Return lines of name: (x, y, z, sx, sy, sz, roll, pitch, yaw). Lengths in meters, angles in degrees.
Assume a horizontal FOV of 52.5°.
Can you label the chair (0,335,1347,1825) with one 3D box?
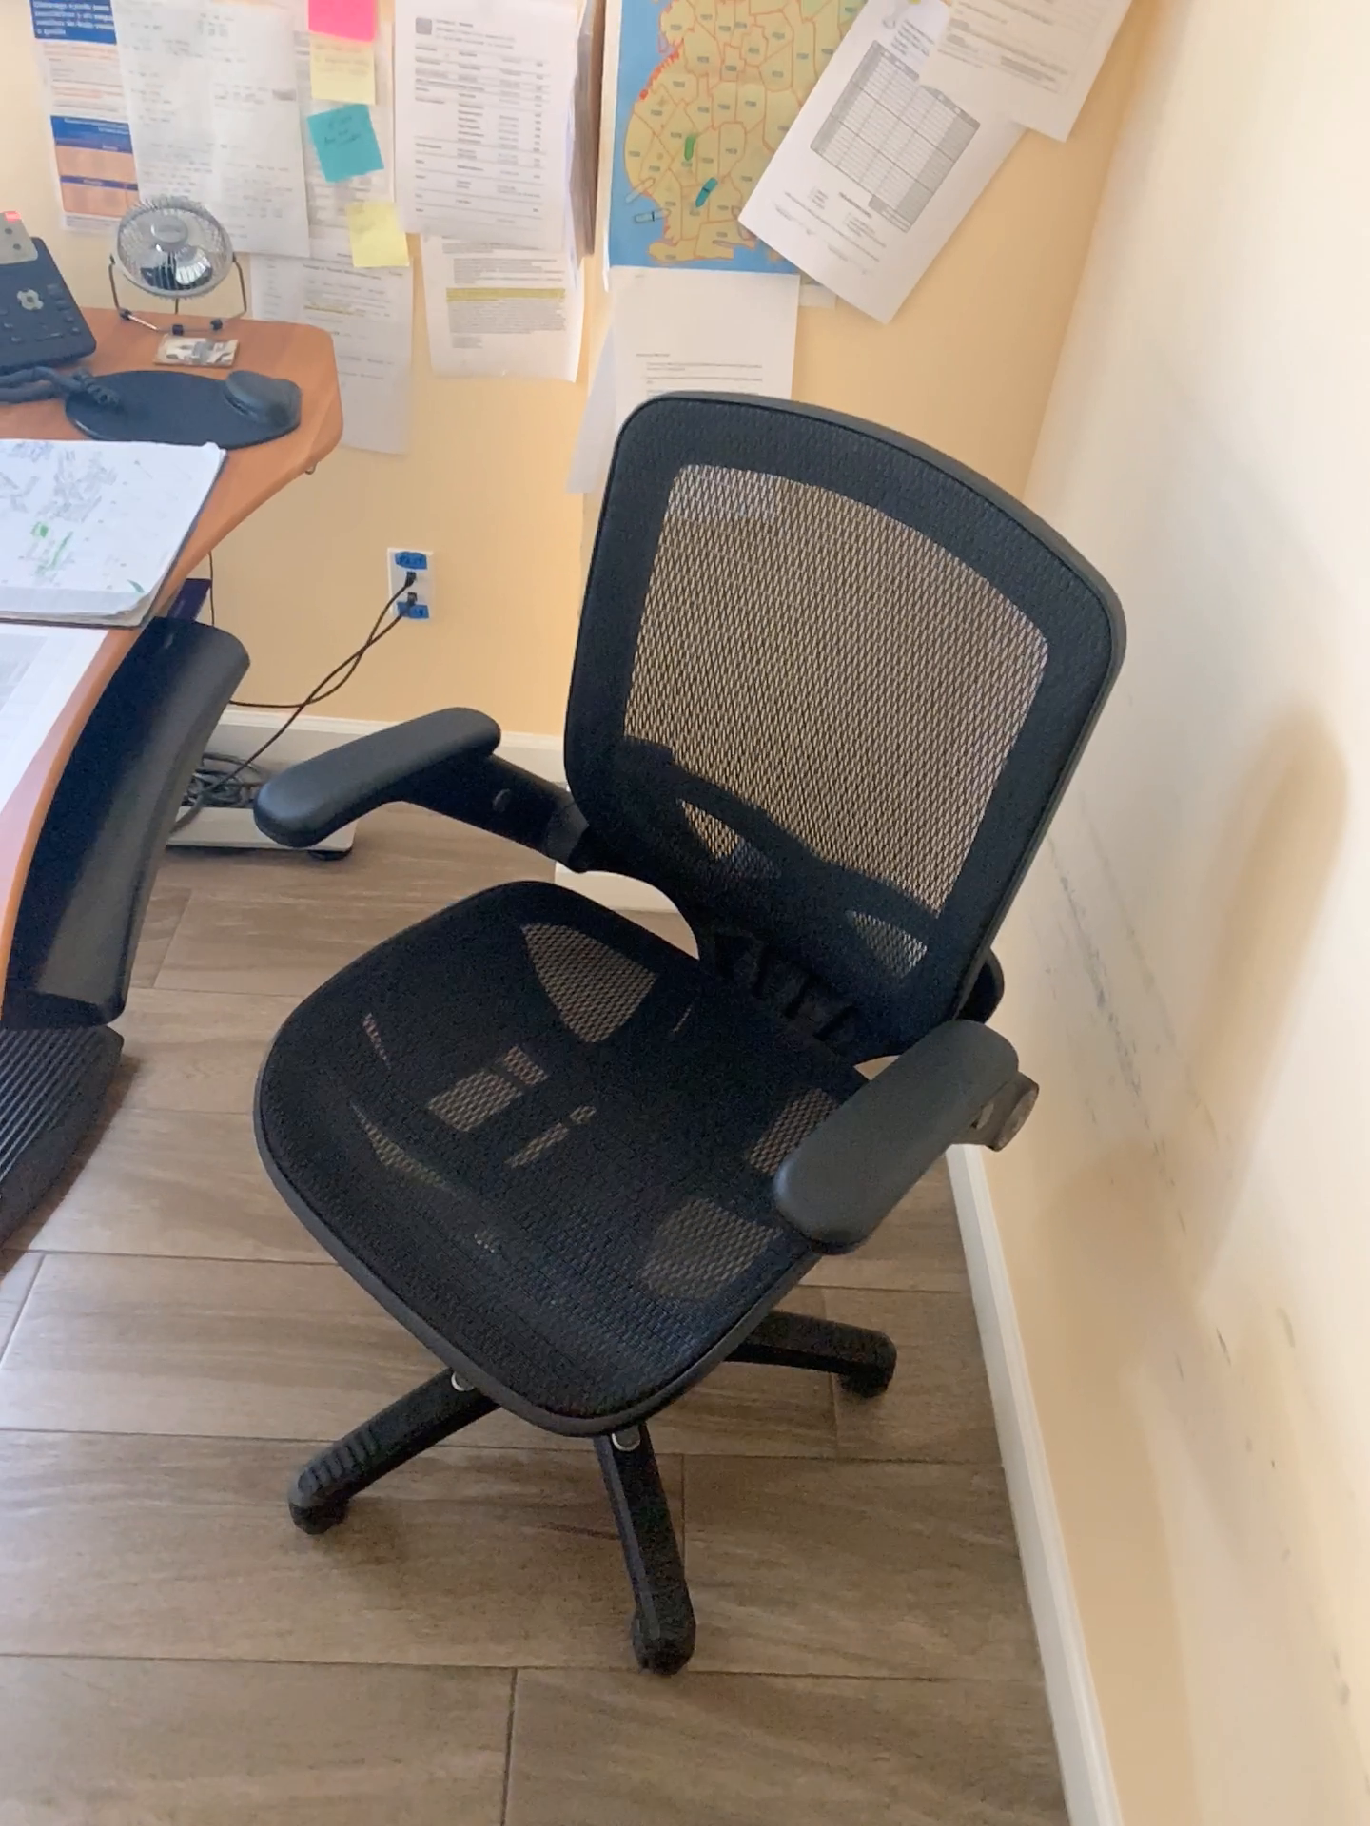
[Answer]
chair: (-0.036, 0.110, 1.238, 0.640, 0.868, 0.775, 33, 47, 24)
